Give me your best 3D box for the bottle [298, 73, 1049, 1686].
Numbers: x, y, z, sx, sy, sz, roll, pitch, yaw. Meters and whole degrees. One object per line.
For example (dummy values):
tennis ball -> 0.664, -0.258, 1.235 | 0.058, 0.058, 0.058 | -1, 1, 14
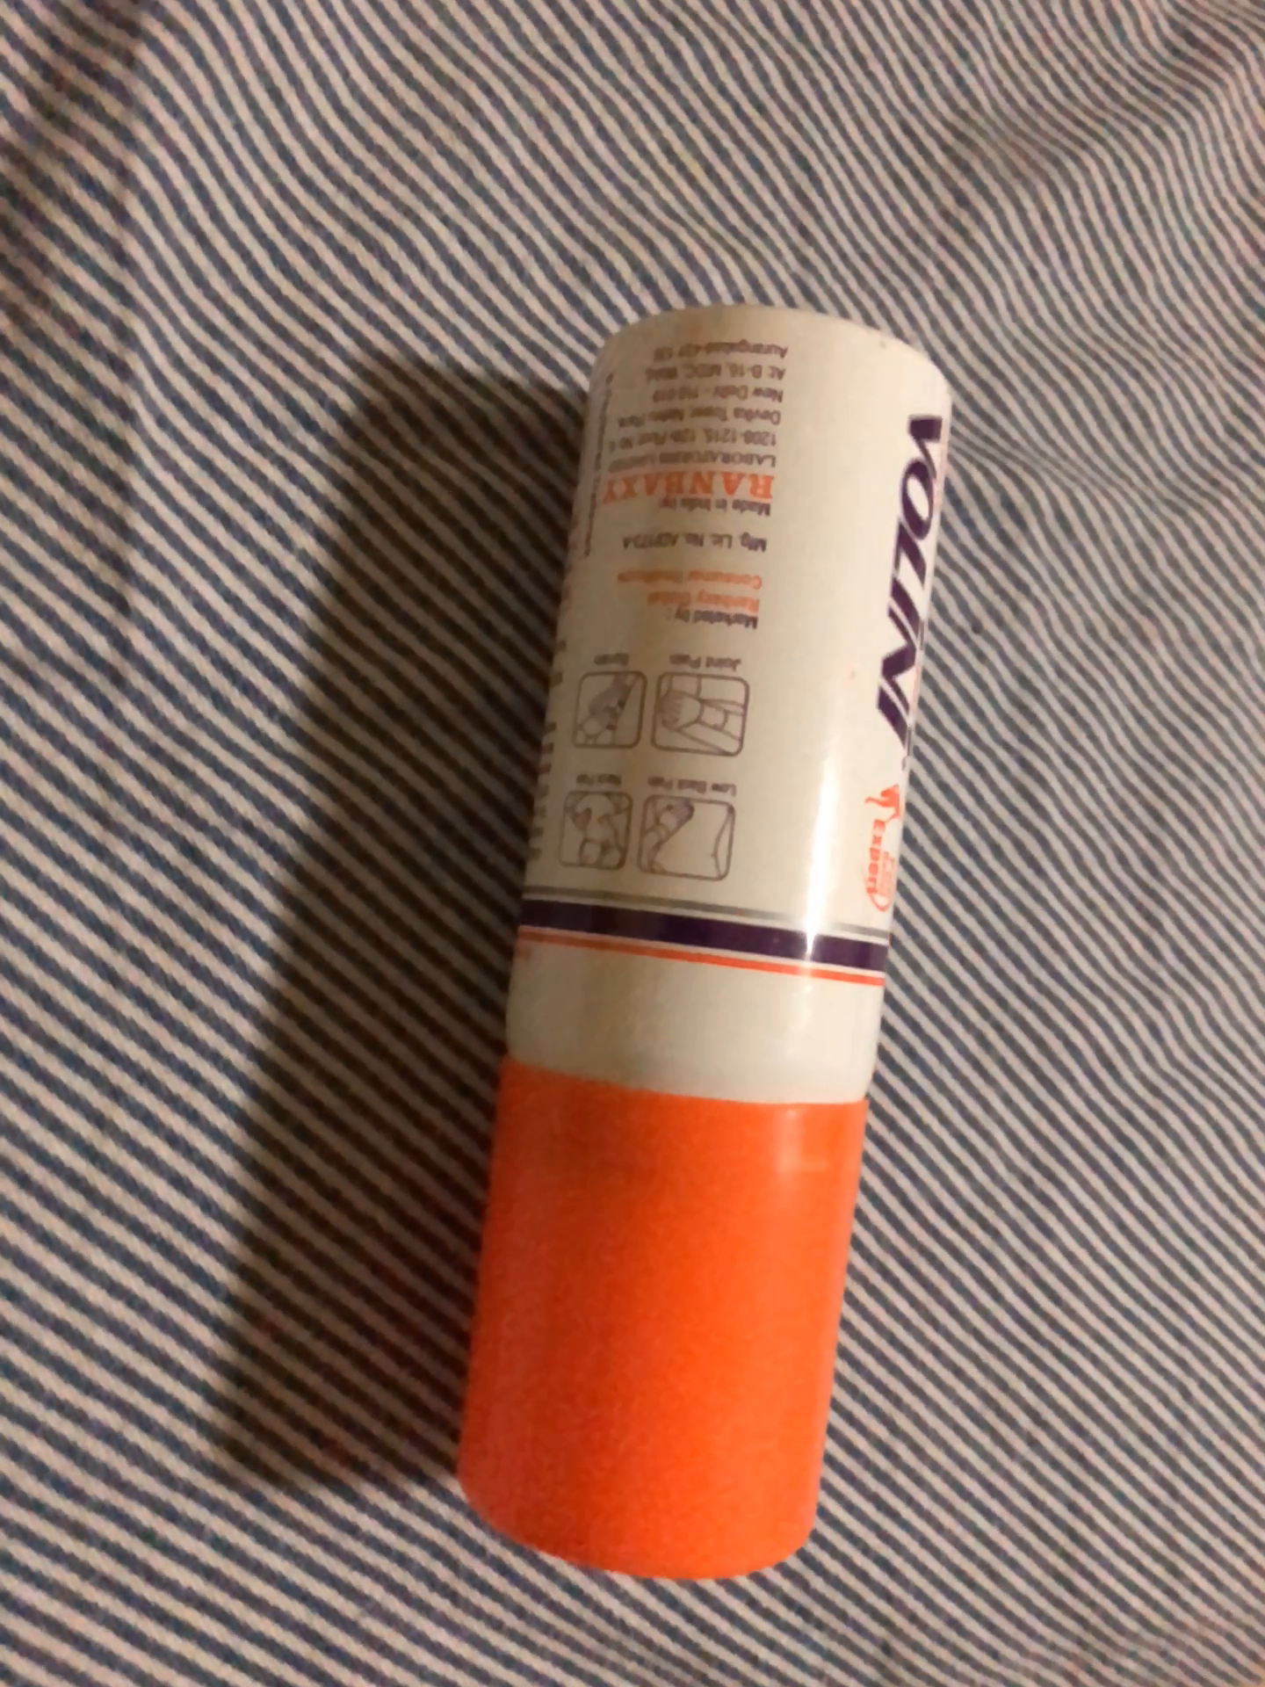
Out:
bottle -> 0.006, 0.002, 0.133 | 0.040, 0.040, 0.120 | 13, 83, -57
